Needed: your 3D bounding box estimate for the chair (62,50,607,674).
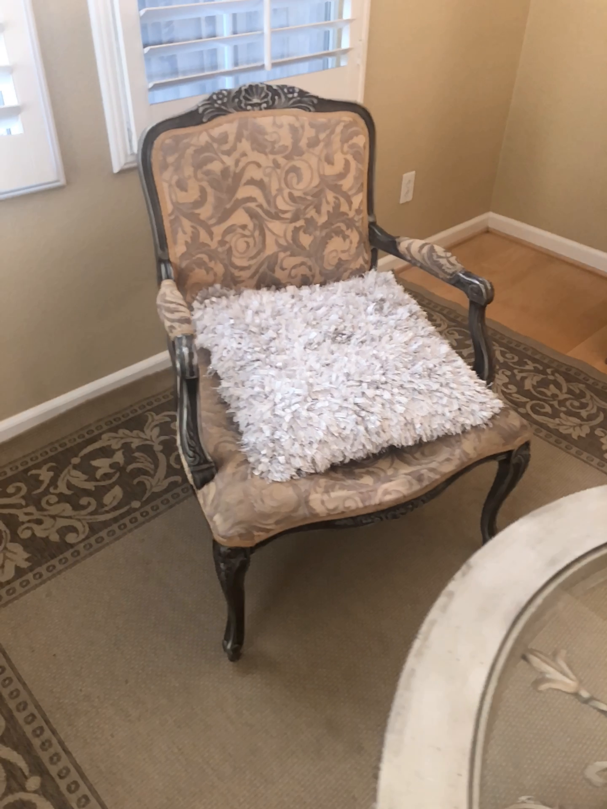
[{"bbox_3d":[0.038,-0.127,1.413,0.763,0.971,0.653,-16,41,-22],"label":"chair"}]
